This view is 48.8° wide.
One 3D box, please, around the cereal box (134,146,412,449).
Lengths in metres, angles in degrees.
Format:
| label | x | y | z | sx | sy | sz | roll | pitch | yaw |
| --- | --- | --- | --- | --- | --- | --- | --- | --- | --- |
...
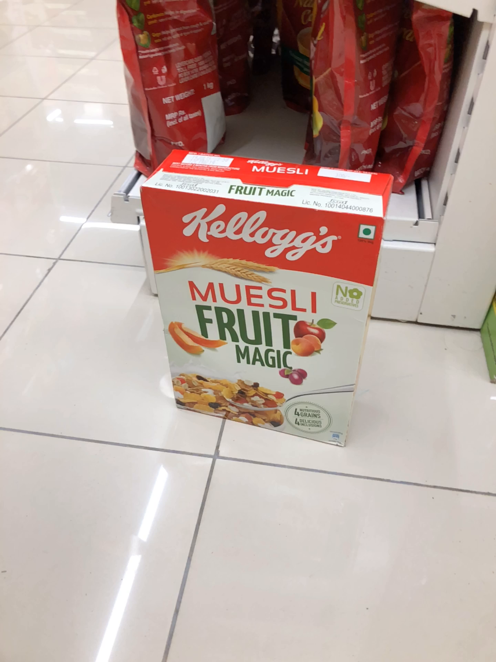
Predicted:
| label | x | y | z | sx | sy | sz | roll | pitch | yaw |
| --- | --- | --- | --- | --- | --- | --- | --- | --- | --- |
| cereal box | 0.023 | -0.021 | 0.482 | 0.190 | 0.238 | 0.081 | 11 | 43 | 13 |
